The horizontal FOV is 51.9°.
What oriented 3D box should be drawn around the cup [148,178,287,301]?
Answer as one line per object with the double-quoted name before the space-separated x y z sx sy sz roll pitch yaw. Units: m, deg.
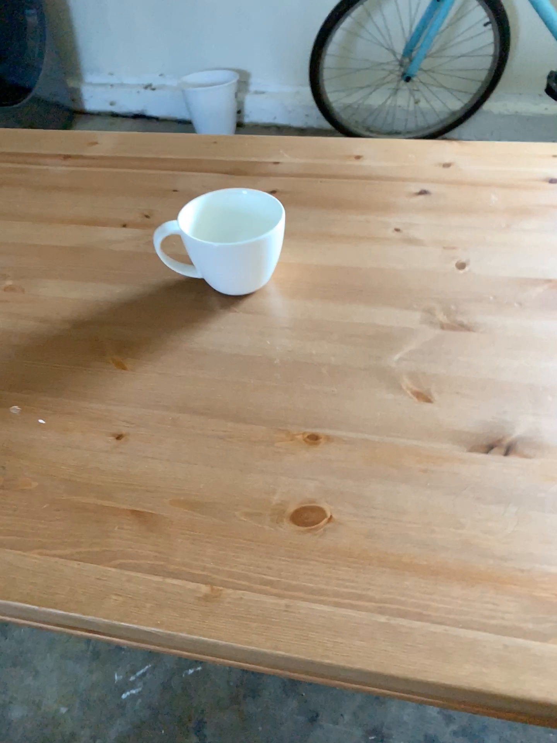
"cup" -0.058 -0.141 0.608 0.130 0.070 0.111 -3 47 2
